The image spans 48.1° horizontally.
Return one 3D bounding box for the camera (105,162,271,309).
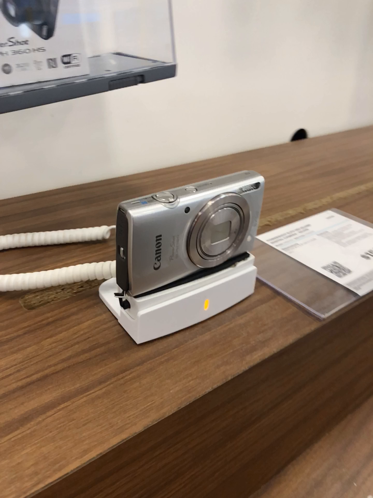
[{"bbox_3d":[0.002,-0.011,0.246,0.100,0.060,0.020,-19,41,-33],"label":"camera"}]
